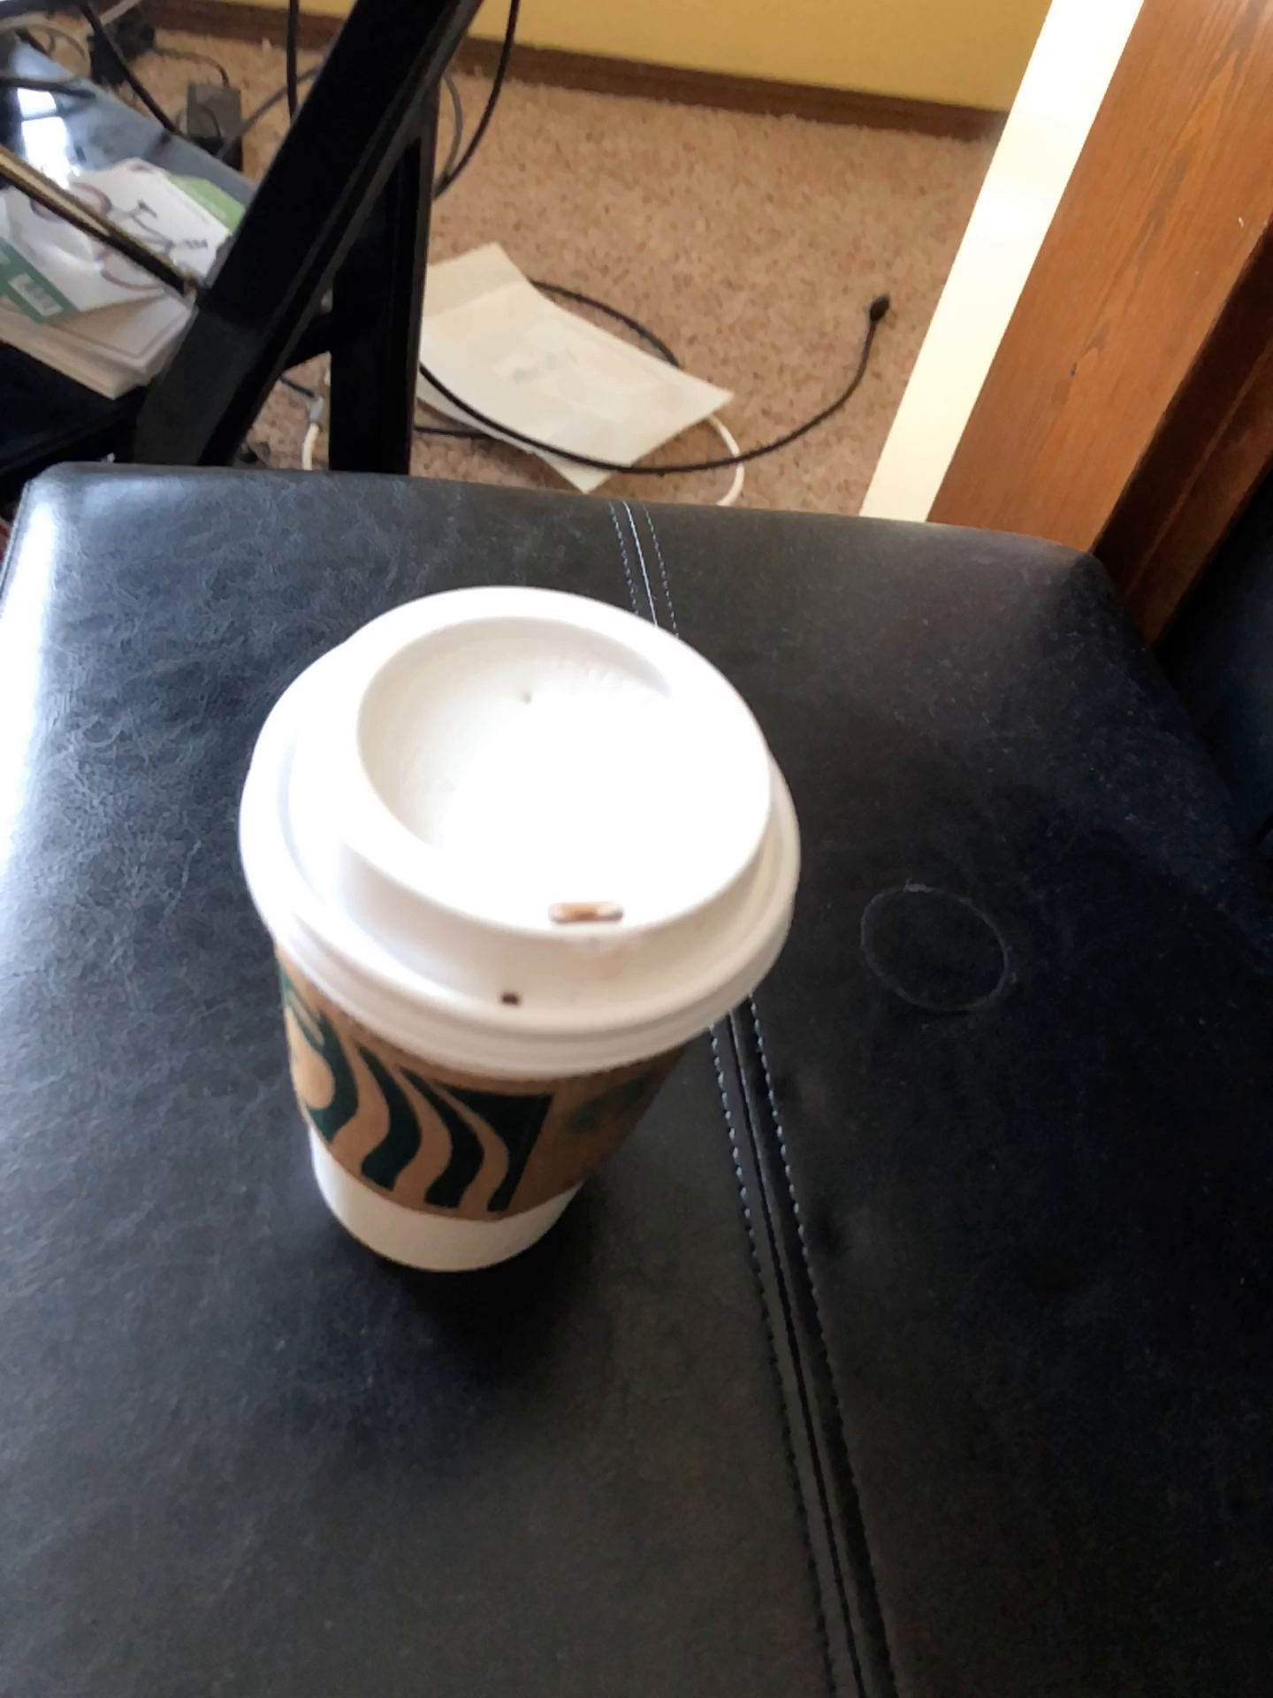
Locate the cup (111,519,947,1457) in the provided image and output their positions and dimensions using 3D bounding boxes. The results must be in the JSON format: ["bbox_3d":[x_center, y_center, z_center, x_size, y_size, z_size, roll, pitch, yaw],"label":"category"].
[{"bbox_3d":[-0.027,0.026,0.245,0.090,0.120,0.090,7,50,-8],"label":"cup"}]
